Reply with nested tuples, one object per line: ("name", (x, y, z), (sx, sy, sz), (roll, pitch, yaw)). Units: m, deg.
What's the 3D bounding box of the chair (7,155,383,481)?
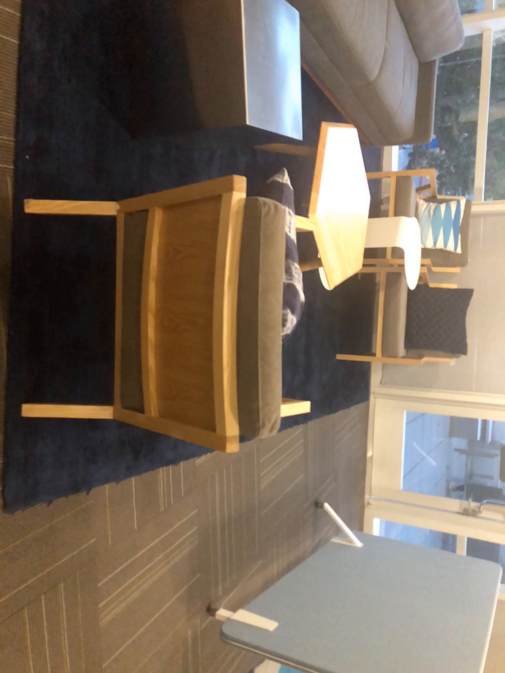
("chair", (-0.109, -0.052, 1.680), (0.836, 0.774, 0.670), (1, 92, -63))
